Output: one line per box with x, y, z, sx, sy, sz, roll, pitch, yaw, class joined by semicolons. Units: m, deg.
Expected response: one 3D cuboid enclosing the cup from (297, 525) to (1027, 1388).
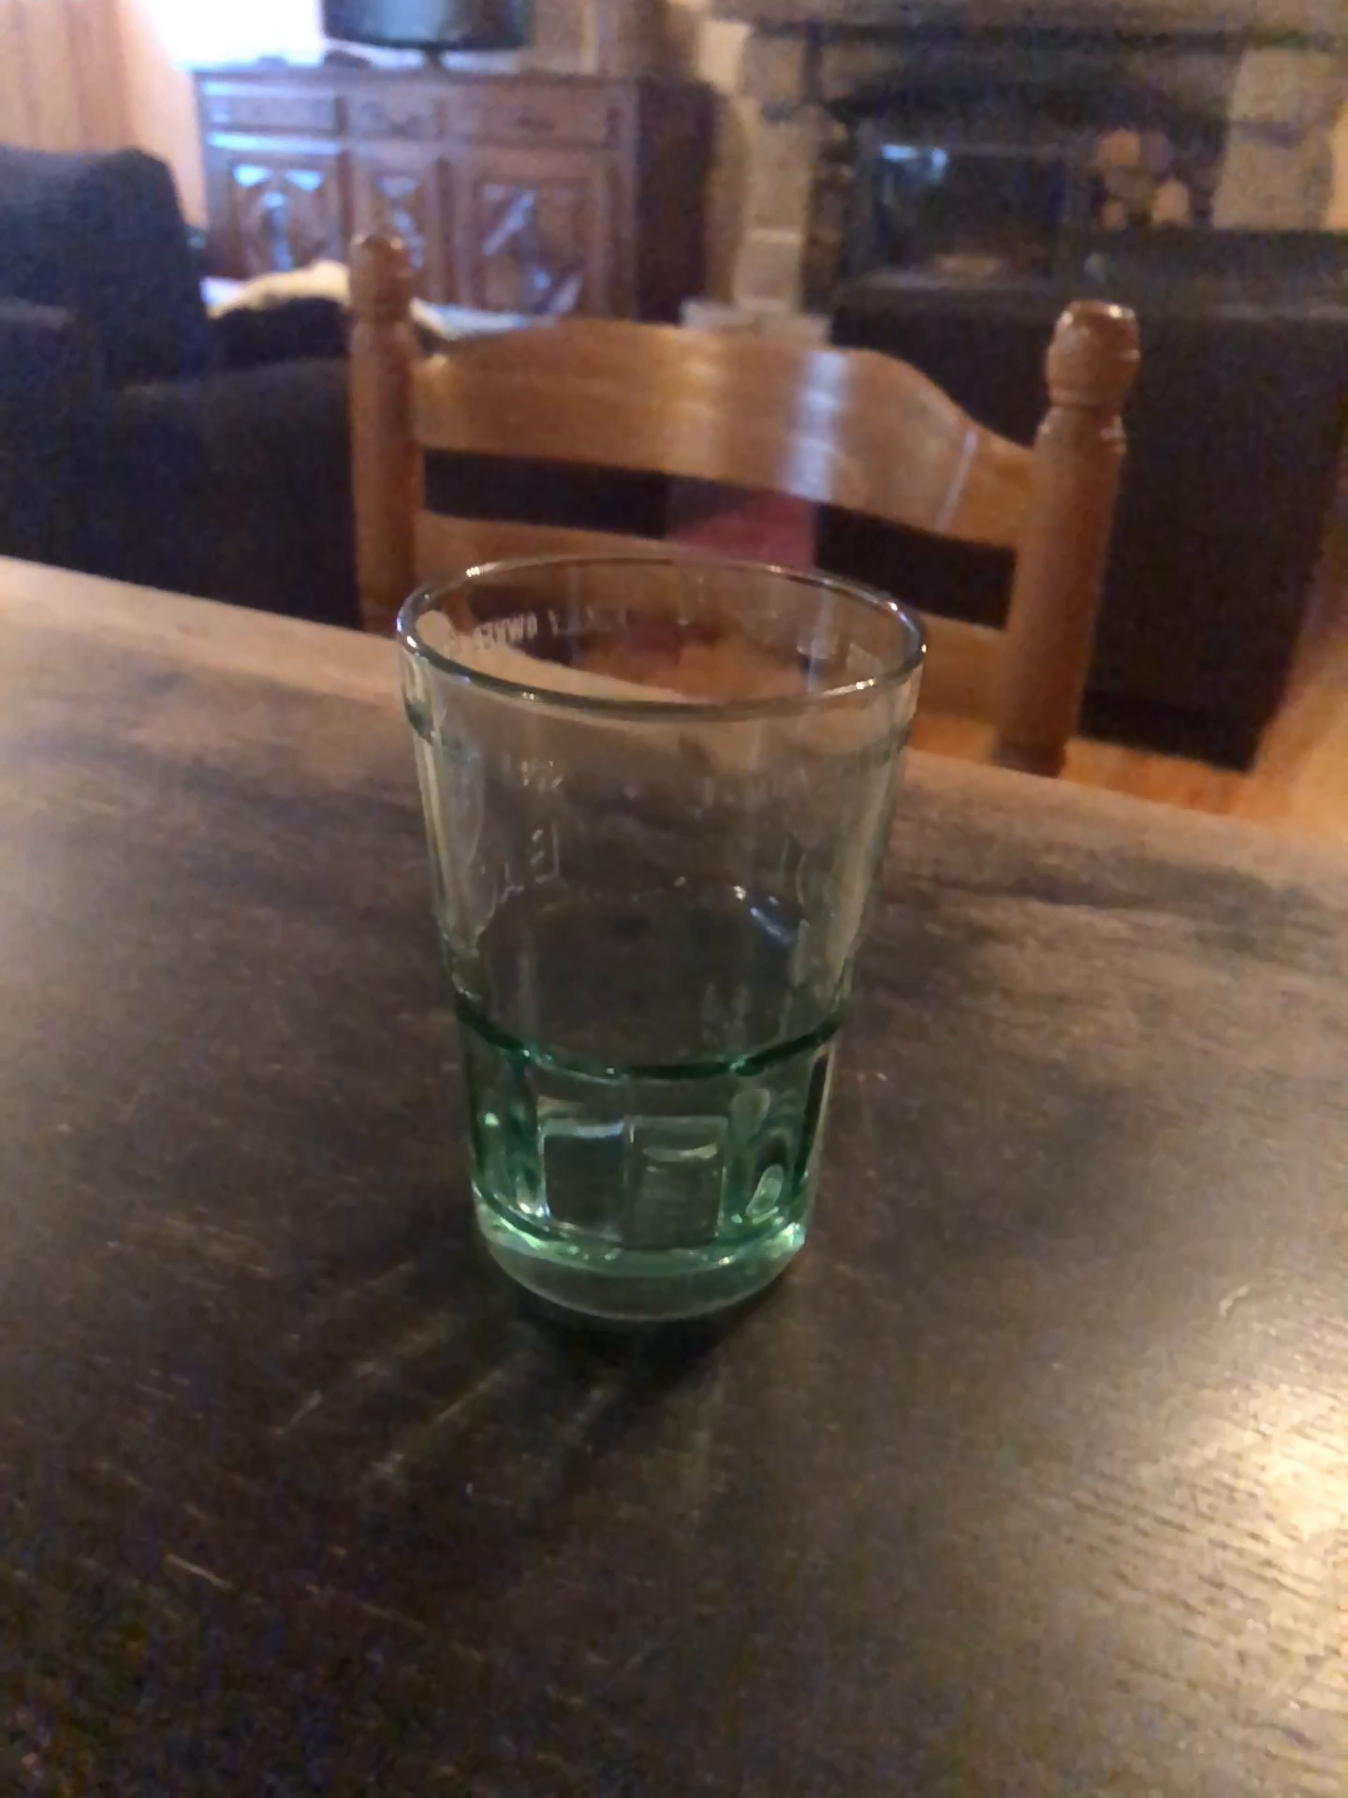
0.002;0.003;0.253;0.089;0.103;0.083;2;27;-1;cup
